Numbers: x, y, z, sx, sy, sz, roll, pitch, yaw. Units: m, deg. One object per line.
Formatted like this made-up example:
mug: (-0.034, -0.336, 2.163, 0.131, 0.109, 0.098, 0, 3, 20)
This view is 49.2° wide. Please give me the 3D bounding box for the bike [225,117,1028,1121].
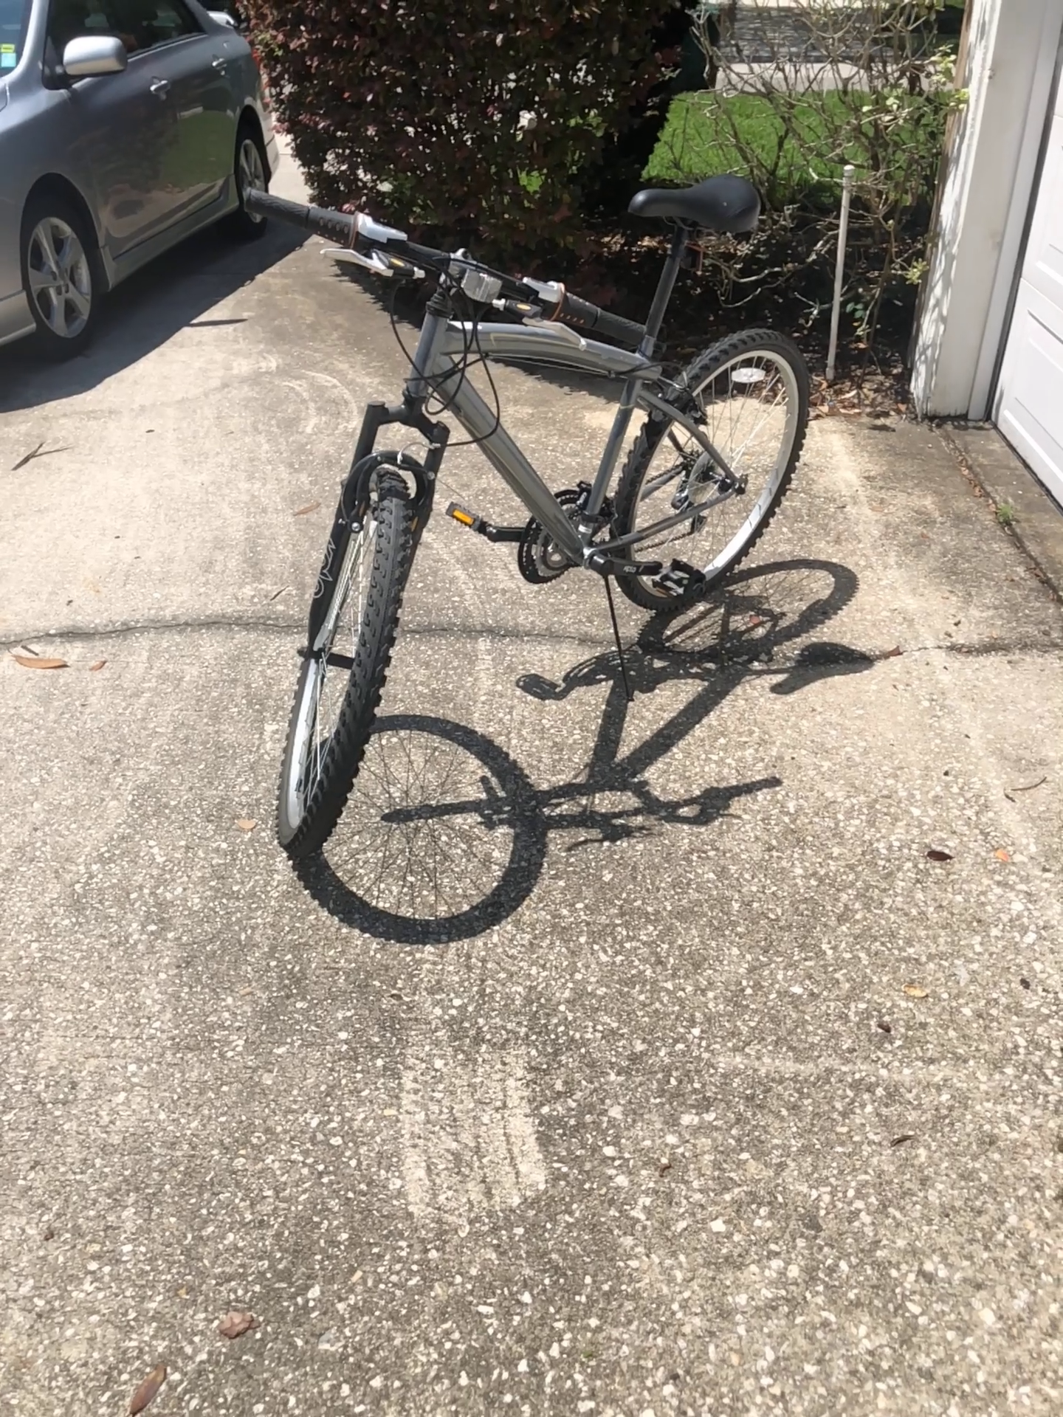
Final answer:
bike: (0.259, -0.365, 2.081, 0.680, 0.980, 1.536, 20, 40, 29)
